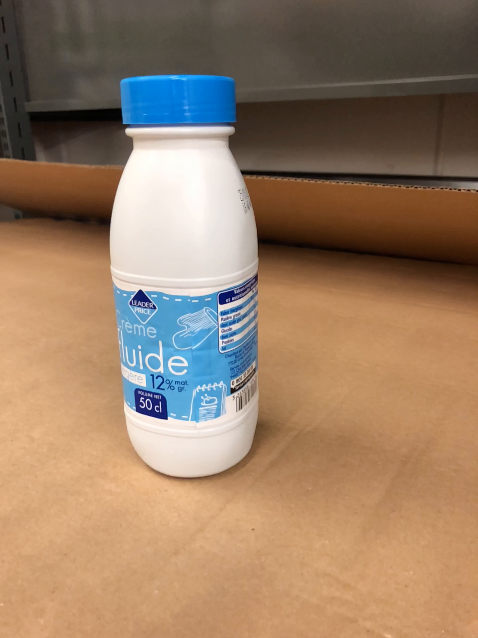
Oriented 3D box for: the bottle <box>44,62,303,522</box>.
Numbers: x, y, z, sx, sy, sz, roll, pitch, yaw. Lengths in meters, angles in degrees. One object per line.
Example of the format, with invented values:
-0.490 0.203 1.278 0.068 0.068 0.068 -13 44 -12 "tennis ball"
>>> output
-0.022 -0.015 0.261 0.080 0.189 0.080 -1 20 1 "bottle"
